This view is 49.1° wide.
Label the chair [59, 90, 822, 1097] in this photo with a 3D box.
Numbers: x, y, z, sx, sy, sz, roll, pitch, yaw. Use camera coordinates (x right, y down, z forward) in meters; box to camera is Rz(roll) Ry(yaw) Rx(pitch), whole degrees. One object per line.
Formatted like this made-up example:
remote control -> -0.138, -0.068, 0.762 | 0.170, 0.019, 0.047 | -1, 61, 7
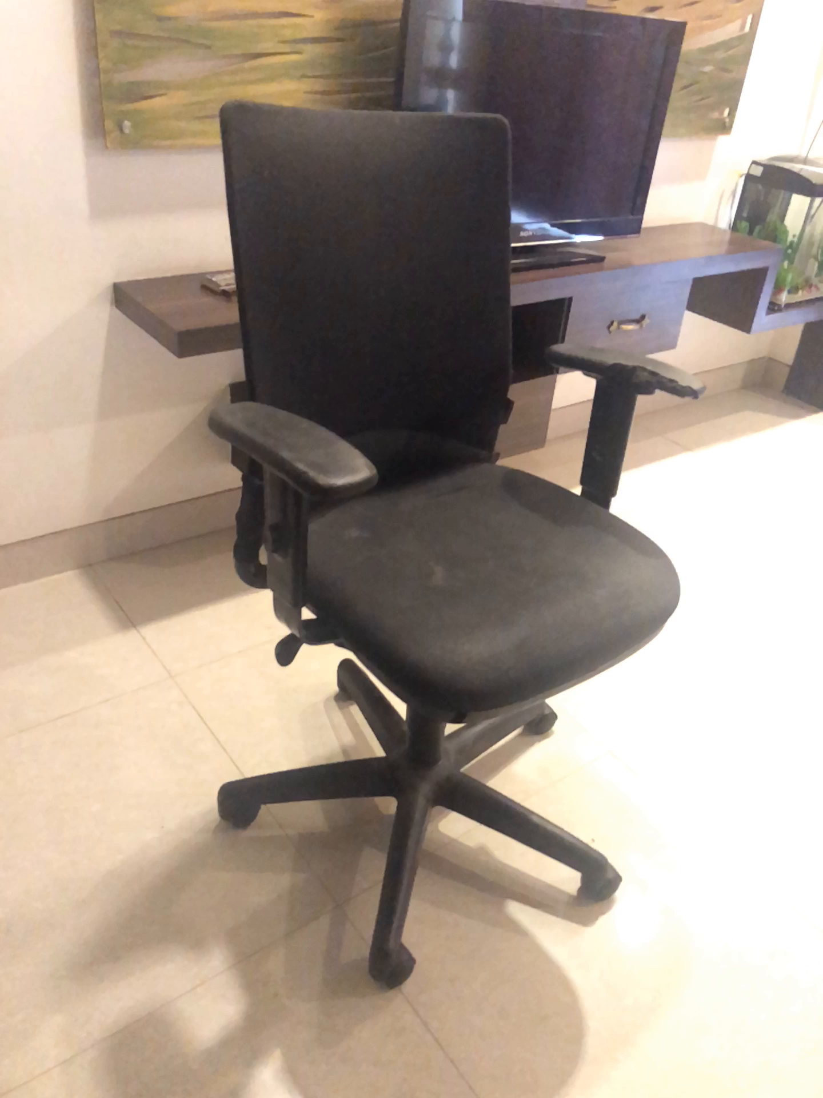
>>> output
chair -> 0.057, -0.013, 1.267 | 0.713, 1.042, 0.703 | -20, 40, -35
